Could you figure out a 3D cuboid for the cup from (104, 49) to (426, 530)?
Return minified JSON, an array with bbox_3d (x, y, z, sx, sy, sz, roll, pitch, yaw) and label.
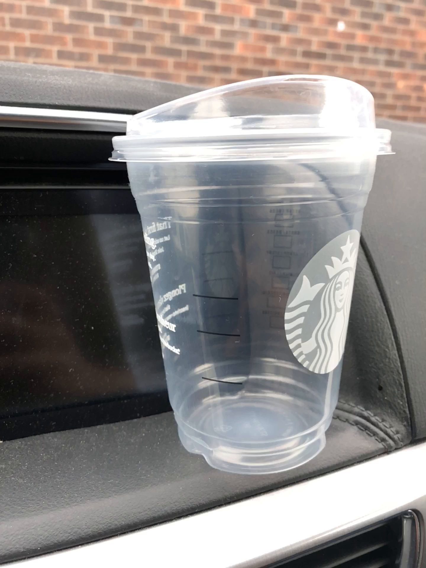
[{"bbox_3d":[0.022,-0.008,0.175,0.082,0.125,0.088,3,19,-1],"label":"cup"}]
